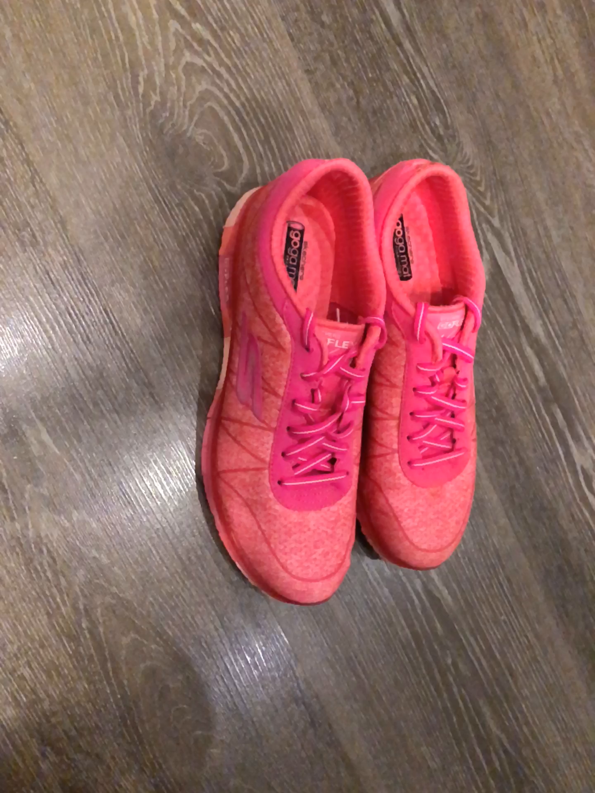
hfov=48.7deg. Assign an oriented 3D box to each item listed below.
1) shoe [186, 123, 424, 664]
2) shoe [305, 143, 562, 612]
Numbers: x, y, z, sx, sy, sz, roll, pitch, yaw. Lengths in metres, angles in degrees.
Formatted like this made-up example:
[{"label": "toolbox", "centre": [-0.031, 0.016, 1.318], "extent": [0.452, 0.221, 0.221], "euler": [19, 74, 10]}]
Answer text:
[{"label": "shoe", "centre": [-0.001, -0.002, 0.376], "extent": [0.100, 0.090, 0.260], "euler": [-1, 87, -23]}, {"label": "shoe", "centre": [0.083, -0.014, 0.423], "extent": [0.100, 0.090, 0.260], "euler": [-6, 89, -24]}]
